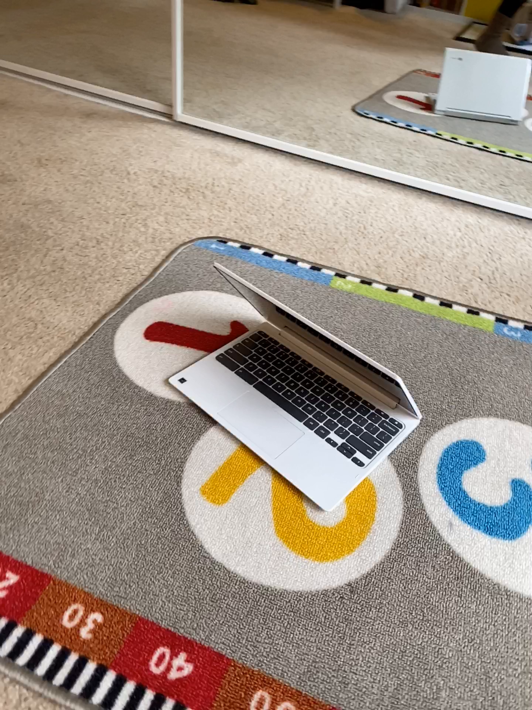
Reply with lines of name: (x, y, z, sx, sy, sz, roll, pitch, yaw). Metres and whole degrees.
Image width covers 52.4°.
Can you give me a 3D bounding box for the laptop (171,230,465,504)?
laptop: (0.056, -0.004, 0.721, 0.294, 0.164, 0.217, 35, 47, 27)
